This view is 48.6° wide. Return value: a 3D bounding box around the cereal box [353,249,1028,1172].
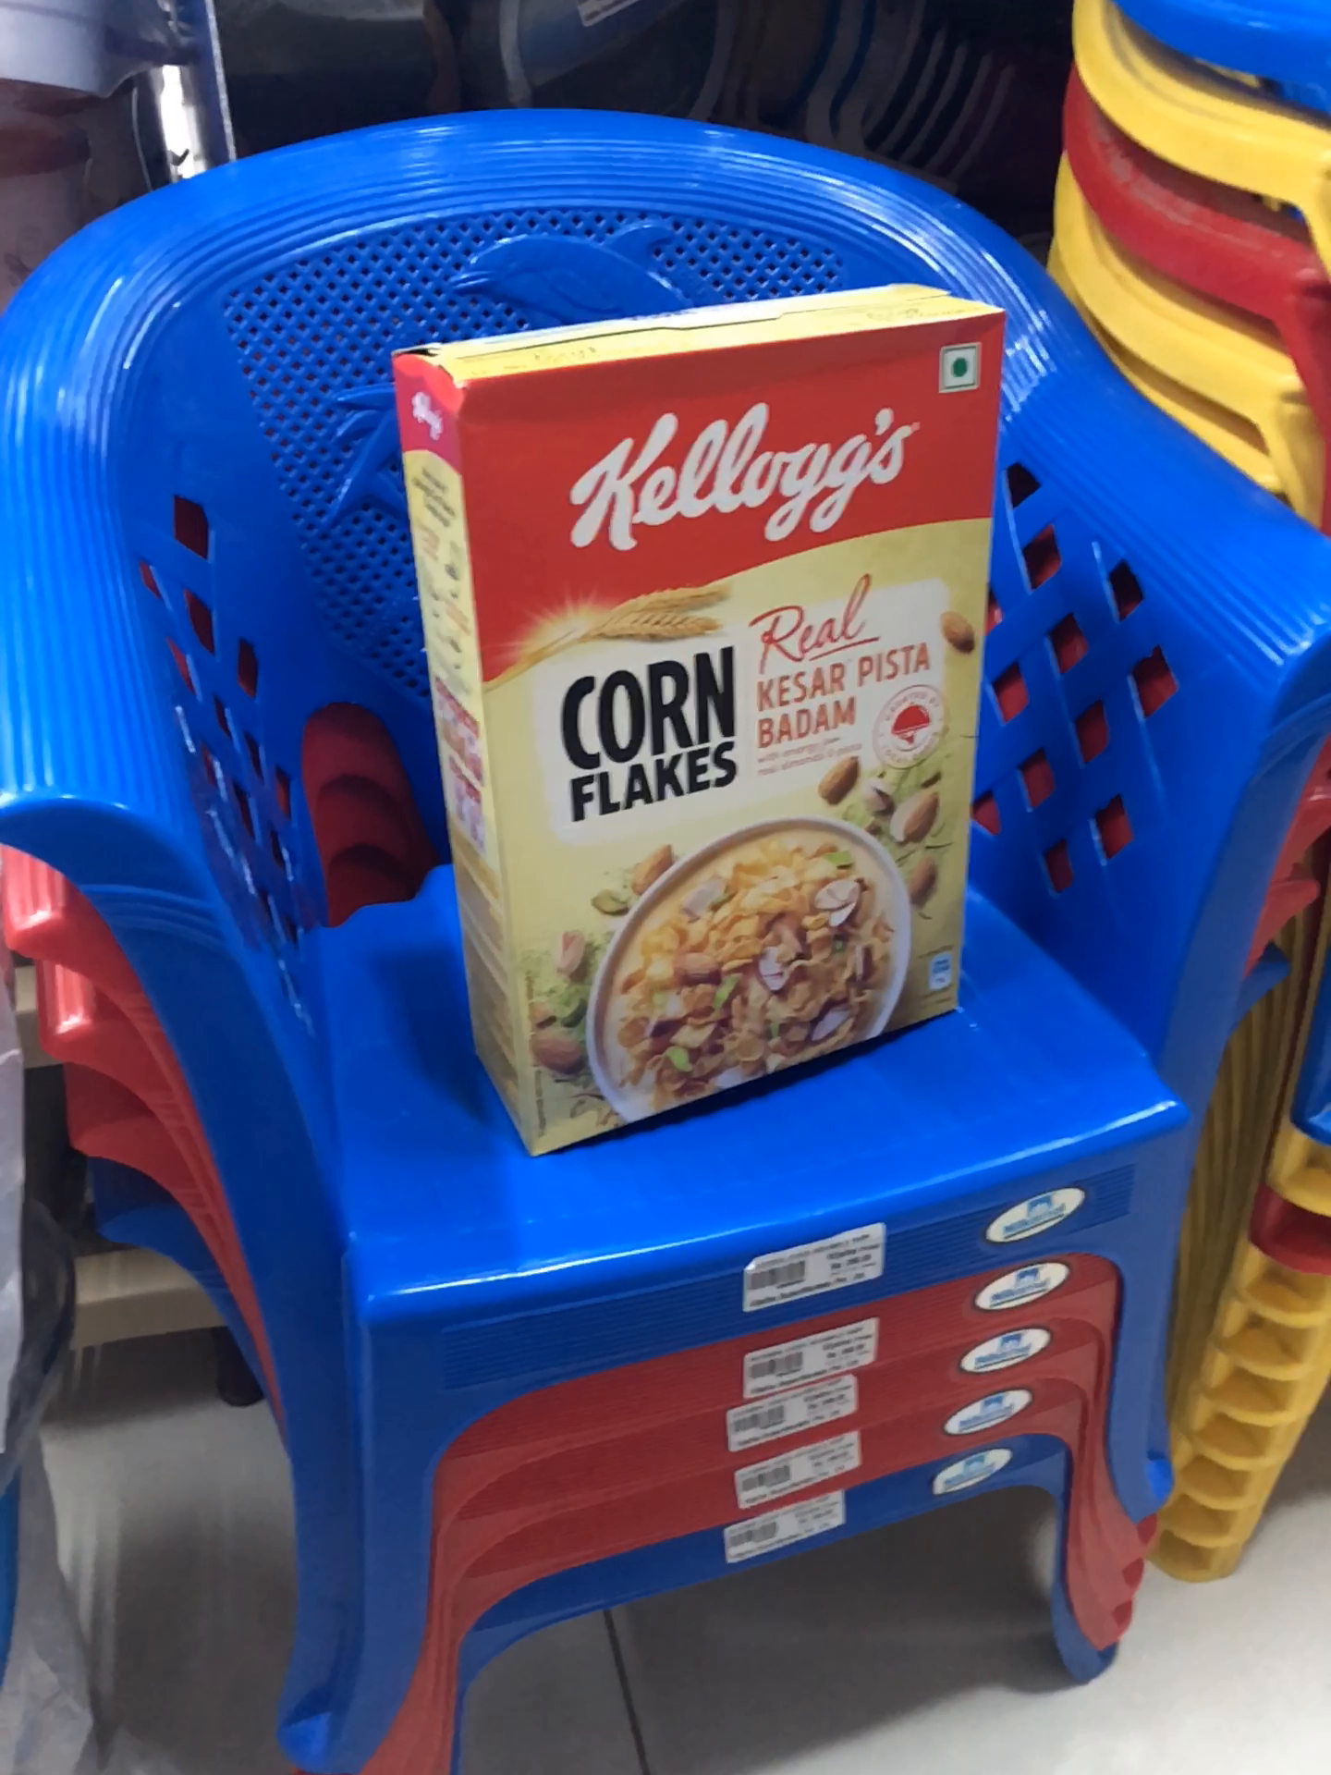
[{"bbox_3d":[0.016,-0.060,0.502,0.190,0.269,0.070,-16,31,-22],"label":"cereal box"}]
